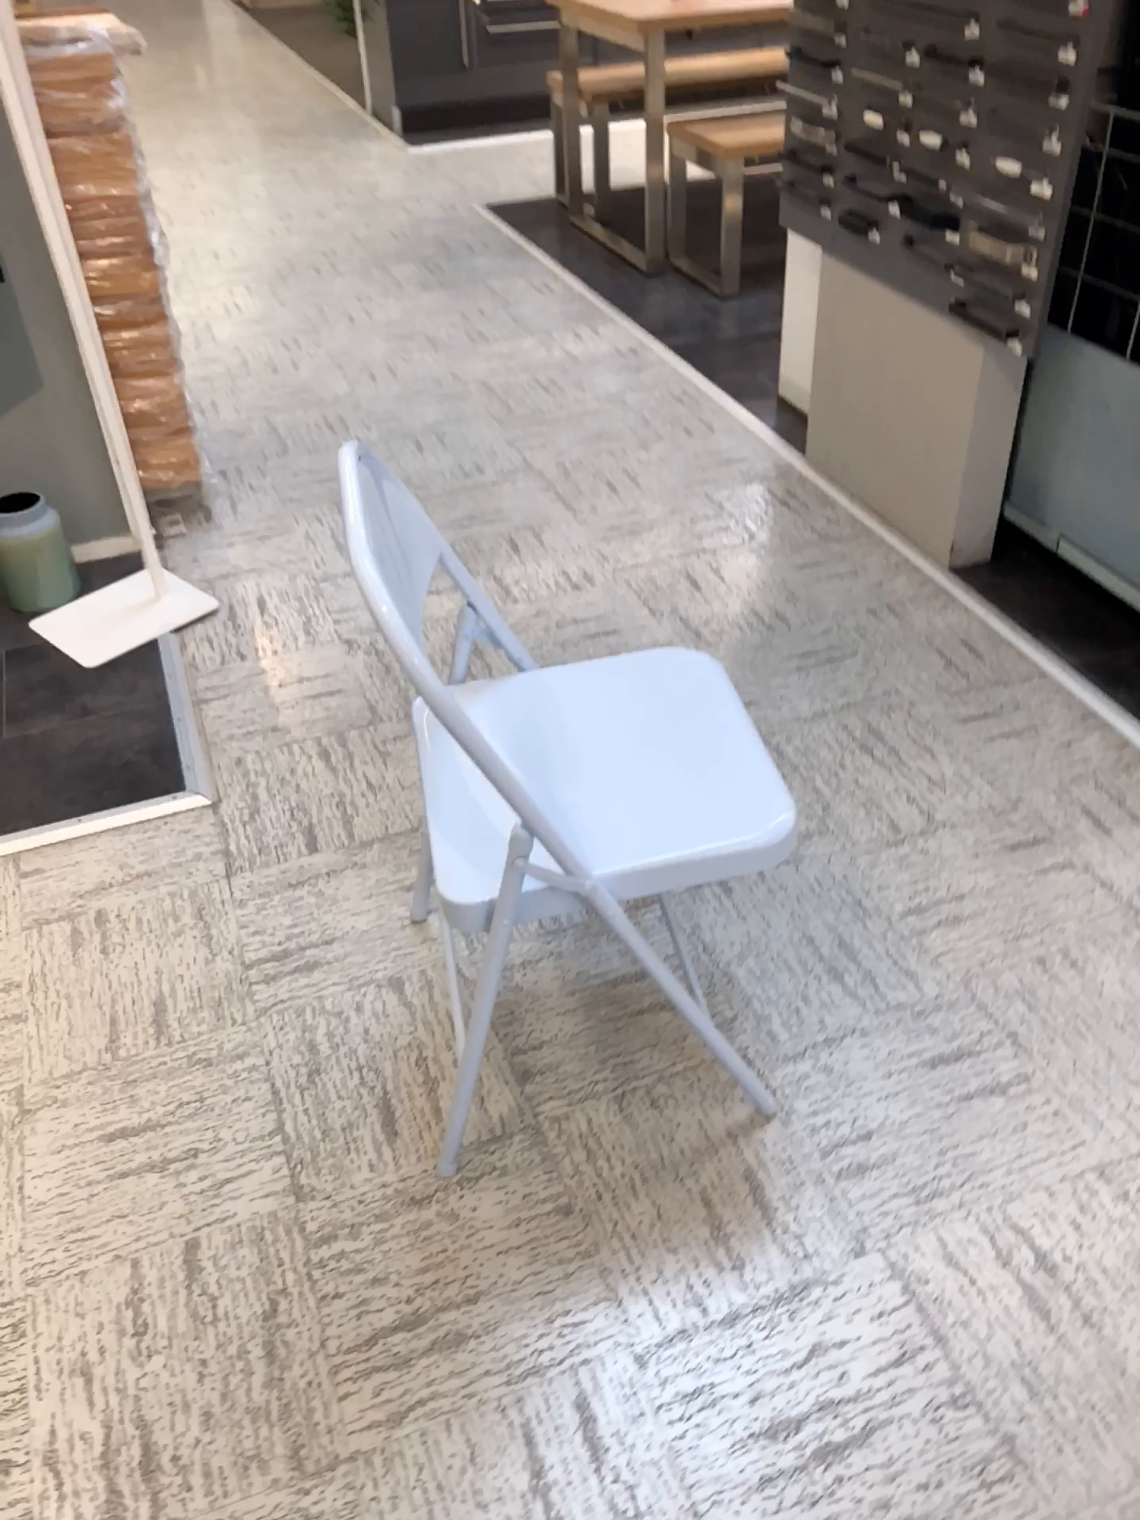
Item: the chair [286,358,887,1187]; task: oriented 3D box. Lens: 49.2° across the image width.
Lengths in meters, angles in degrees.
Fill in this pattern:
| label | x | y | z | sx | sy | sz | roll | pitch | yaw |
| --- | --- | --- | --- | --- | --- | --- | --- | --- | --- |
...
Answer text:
| label | x | y | z | sx | sy | sz | roll | pitch | yaw |
| --- | --- | --- | --- | --- | --- | --- | --- | --- | --- |
| chair | -0.011 | 0.006 | 1.409 | 0.480 | 0.706 | 0.513 | -9 | 37 | -8 |
